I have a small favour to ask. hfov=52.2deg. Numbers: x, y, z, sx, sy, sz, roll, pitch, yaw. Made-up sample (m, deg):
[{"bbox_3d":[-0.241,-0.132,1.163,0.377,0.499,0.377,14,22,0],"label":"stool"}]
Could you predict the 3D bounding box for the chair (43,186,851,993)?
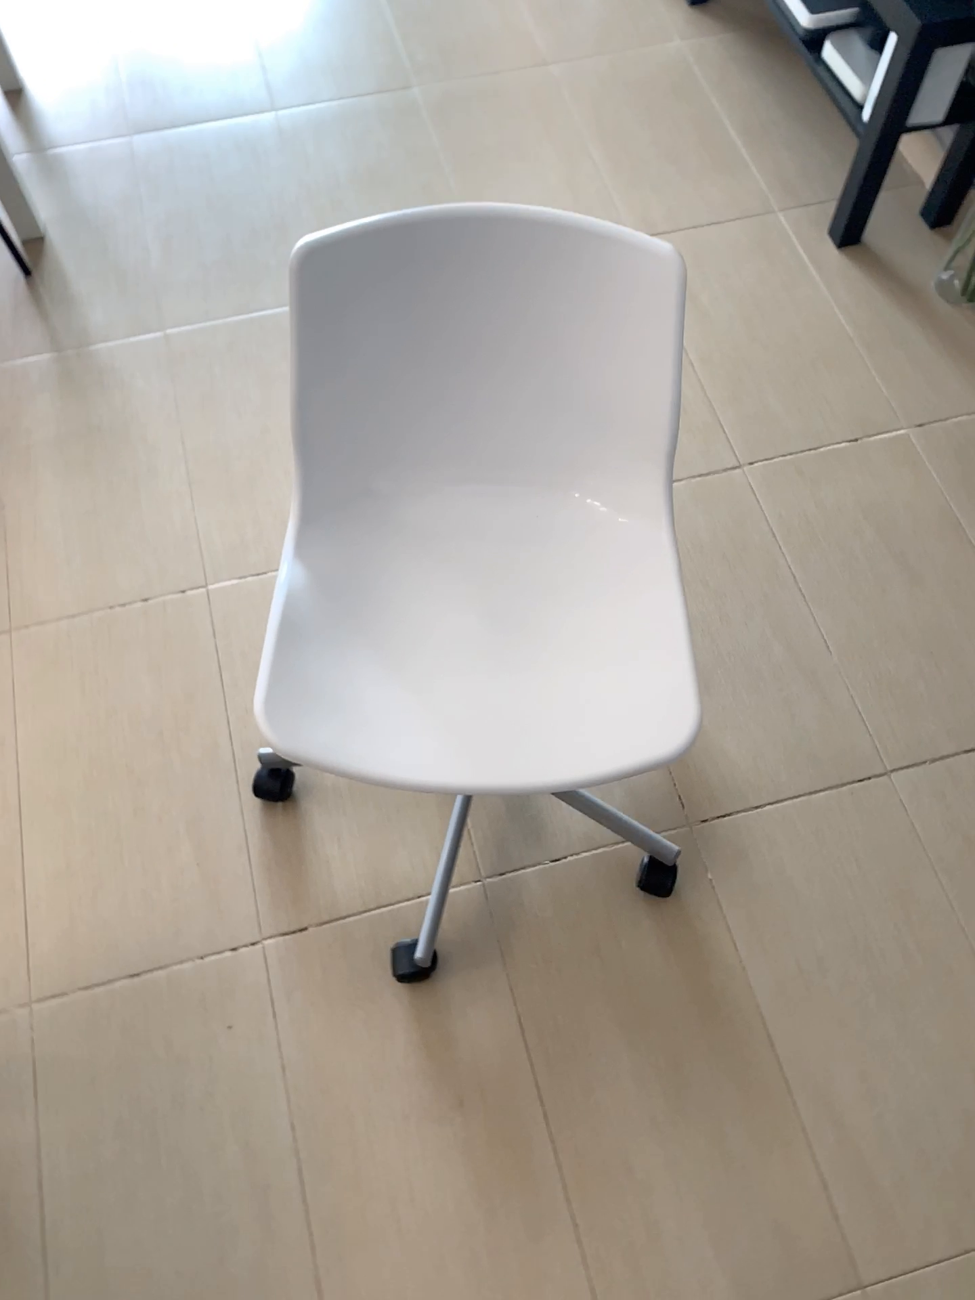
[{"bbox_3d":[-0.042,-0.035,1.258,0.641,0.648,0.781,-2,62,-1],"label":"chair"}]
